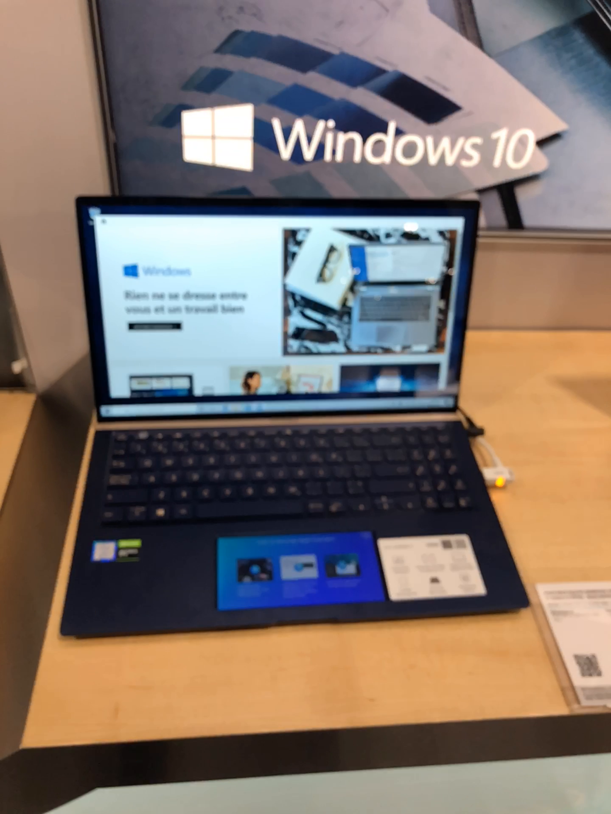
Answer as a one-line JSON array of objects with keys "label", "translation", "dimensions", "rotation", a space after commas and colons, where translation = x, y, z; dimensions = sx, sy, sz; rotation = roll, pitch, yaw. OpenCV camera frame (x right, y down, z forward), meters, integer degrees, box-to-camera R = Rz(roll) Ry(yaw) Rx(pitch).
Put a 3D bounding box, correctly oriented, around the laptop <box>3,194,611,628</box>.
[{"label": "laptop", "translation": [-0.009, -0.011, 0.532], "dimensions": [0.338, 0.183, 0.274], "rotation": [-1, 43, -7]}]
